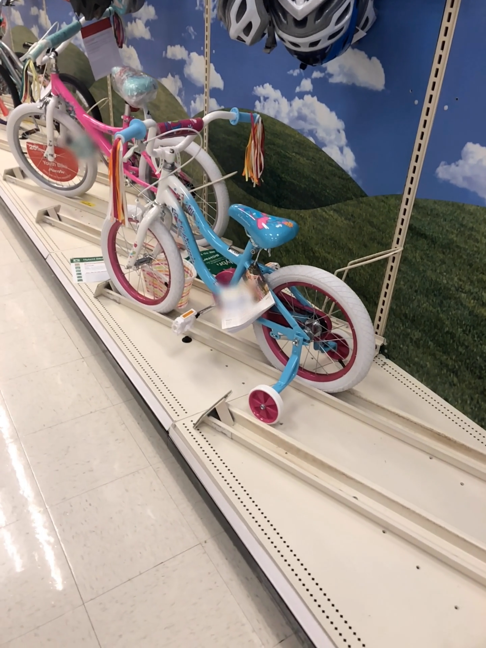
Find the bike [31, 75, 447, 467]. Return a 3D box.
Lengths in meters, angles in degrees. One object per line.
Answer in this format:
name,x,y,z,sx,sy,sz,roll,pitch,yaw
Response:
bike,-0.055,-0.261,1.653,1.092,0.723,0.534,25,38,28
